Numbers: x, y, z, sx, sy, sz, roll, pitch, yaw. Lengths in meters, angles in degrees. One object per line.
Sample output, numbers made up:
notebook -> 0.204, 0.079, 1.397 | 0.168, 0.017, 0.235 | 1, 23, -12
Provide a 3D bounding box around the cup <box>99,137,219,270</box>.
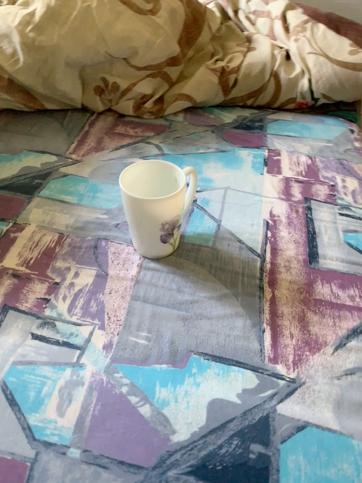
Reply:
cup -> -0.025, -0.051, 0.470 | 0.080, 0.099, 0.121 | 32, 52, 27
